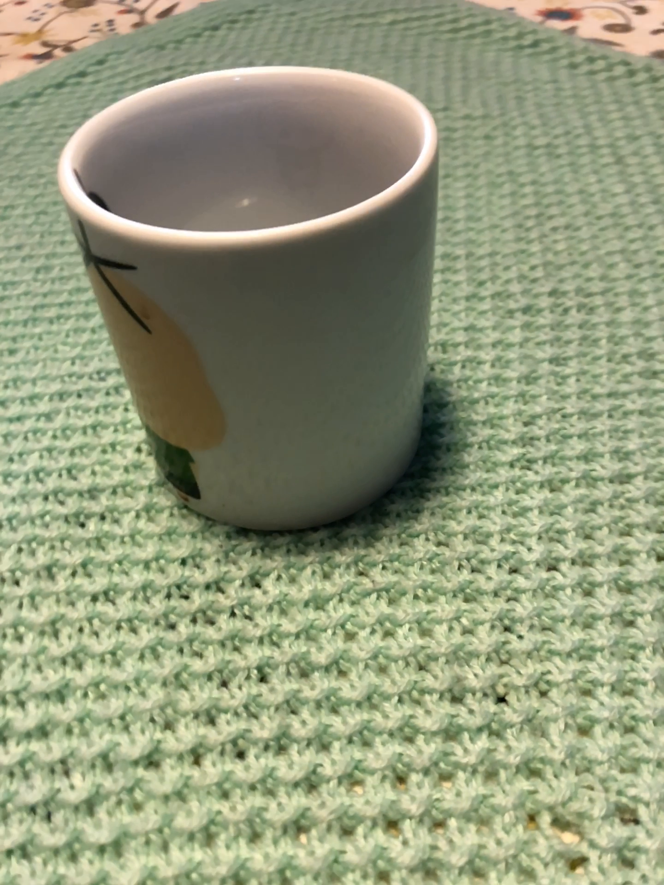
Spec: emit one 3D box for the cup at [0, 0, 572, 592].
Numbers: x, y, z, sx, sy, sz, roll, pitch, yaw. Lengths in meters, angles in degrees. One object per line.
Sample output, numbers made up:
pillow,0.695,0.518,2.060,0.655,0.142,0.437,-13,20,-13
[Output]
cup,-0.021,-0.052,0.216,0.090,0.099,0.131,-27,51,-21
